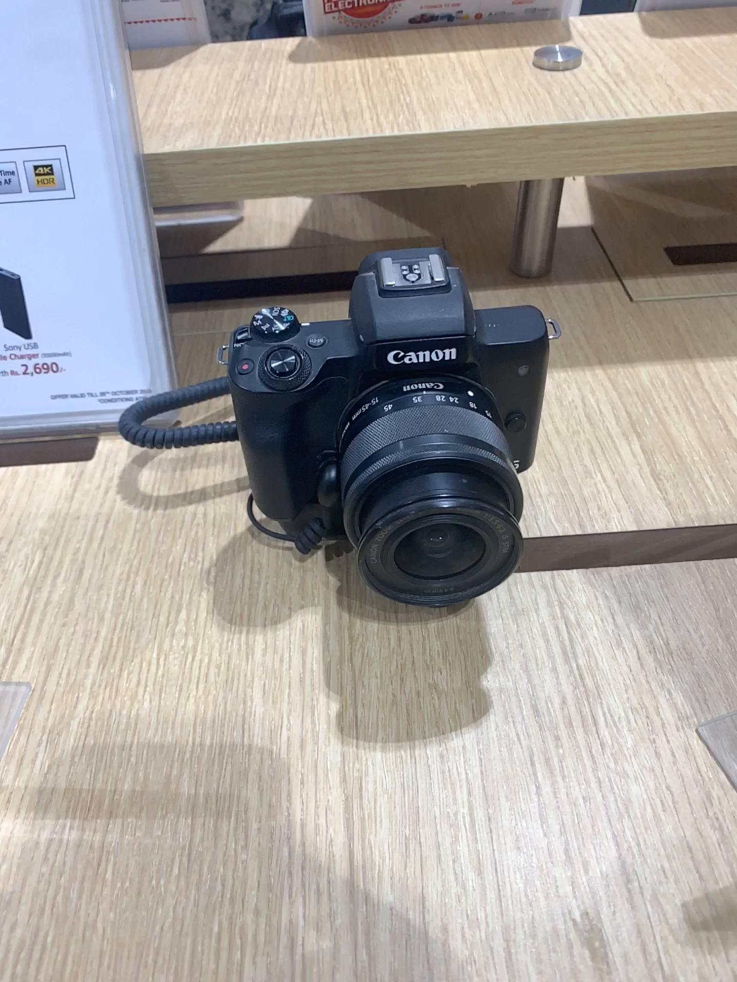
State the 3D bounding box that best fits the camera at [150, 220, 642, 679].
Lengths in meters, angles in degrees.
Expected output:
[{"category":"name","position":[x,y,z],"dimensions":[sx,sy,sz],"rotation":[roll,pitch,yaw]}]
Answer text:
[{"category":"camera","position":[0.005,-0.015,0.255],"dimensions":[0.120,0.100,0.100],"rotation":[-6,45,-2]}]
